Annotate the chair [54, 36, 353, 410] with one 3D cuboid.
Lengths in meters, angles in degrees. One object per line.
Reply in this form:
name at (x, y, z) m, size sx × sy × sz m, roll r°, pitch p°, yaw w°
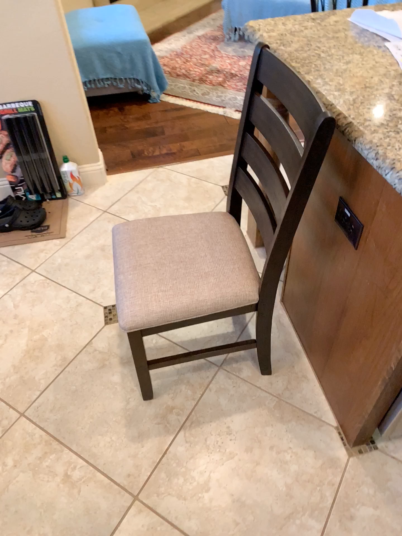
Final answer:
chair at (-0.013, -0.068, 1.183) m, size 0.524 × 0.910 × 0.469 m, roll -11°, pitch 46°, yaw -7°
